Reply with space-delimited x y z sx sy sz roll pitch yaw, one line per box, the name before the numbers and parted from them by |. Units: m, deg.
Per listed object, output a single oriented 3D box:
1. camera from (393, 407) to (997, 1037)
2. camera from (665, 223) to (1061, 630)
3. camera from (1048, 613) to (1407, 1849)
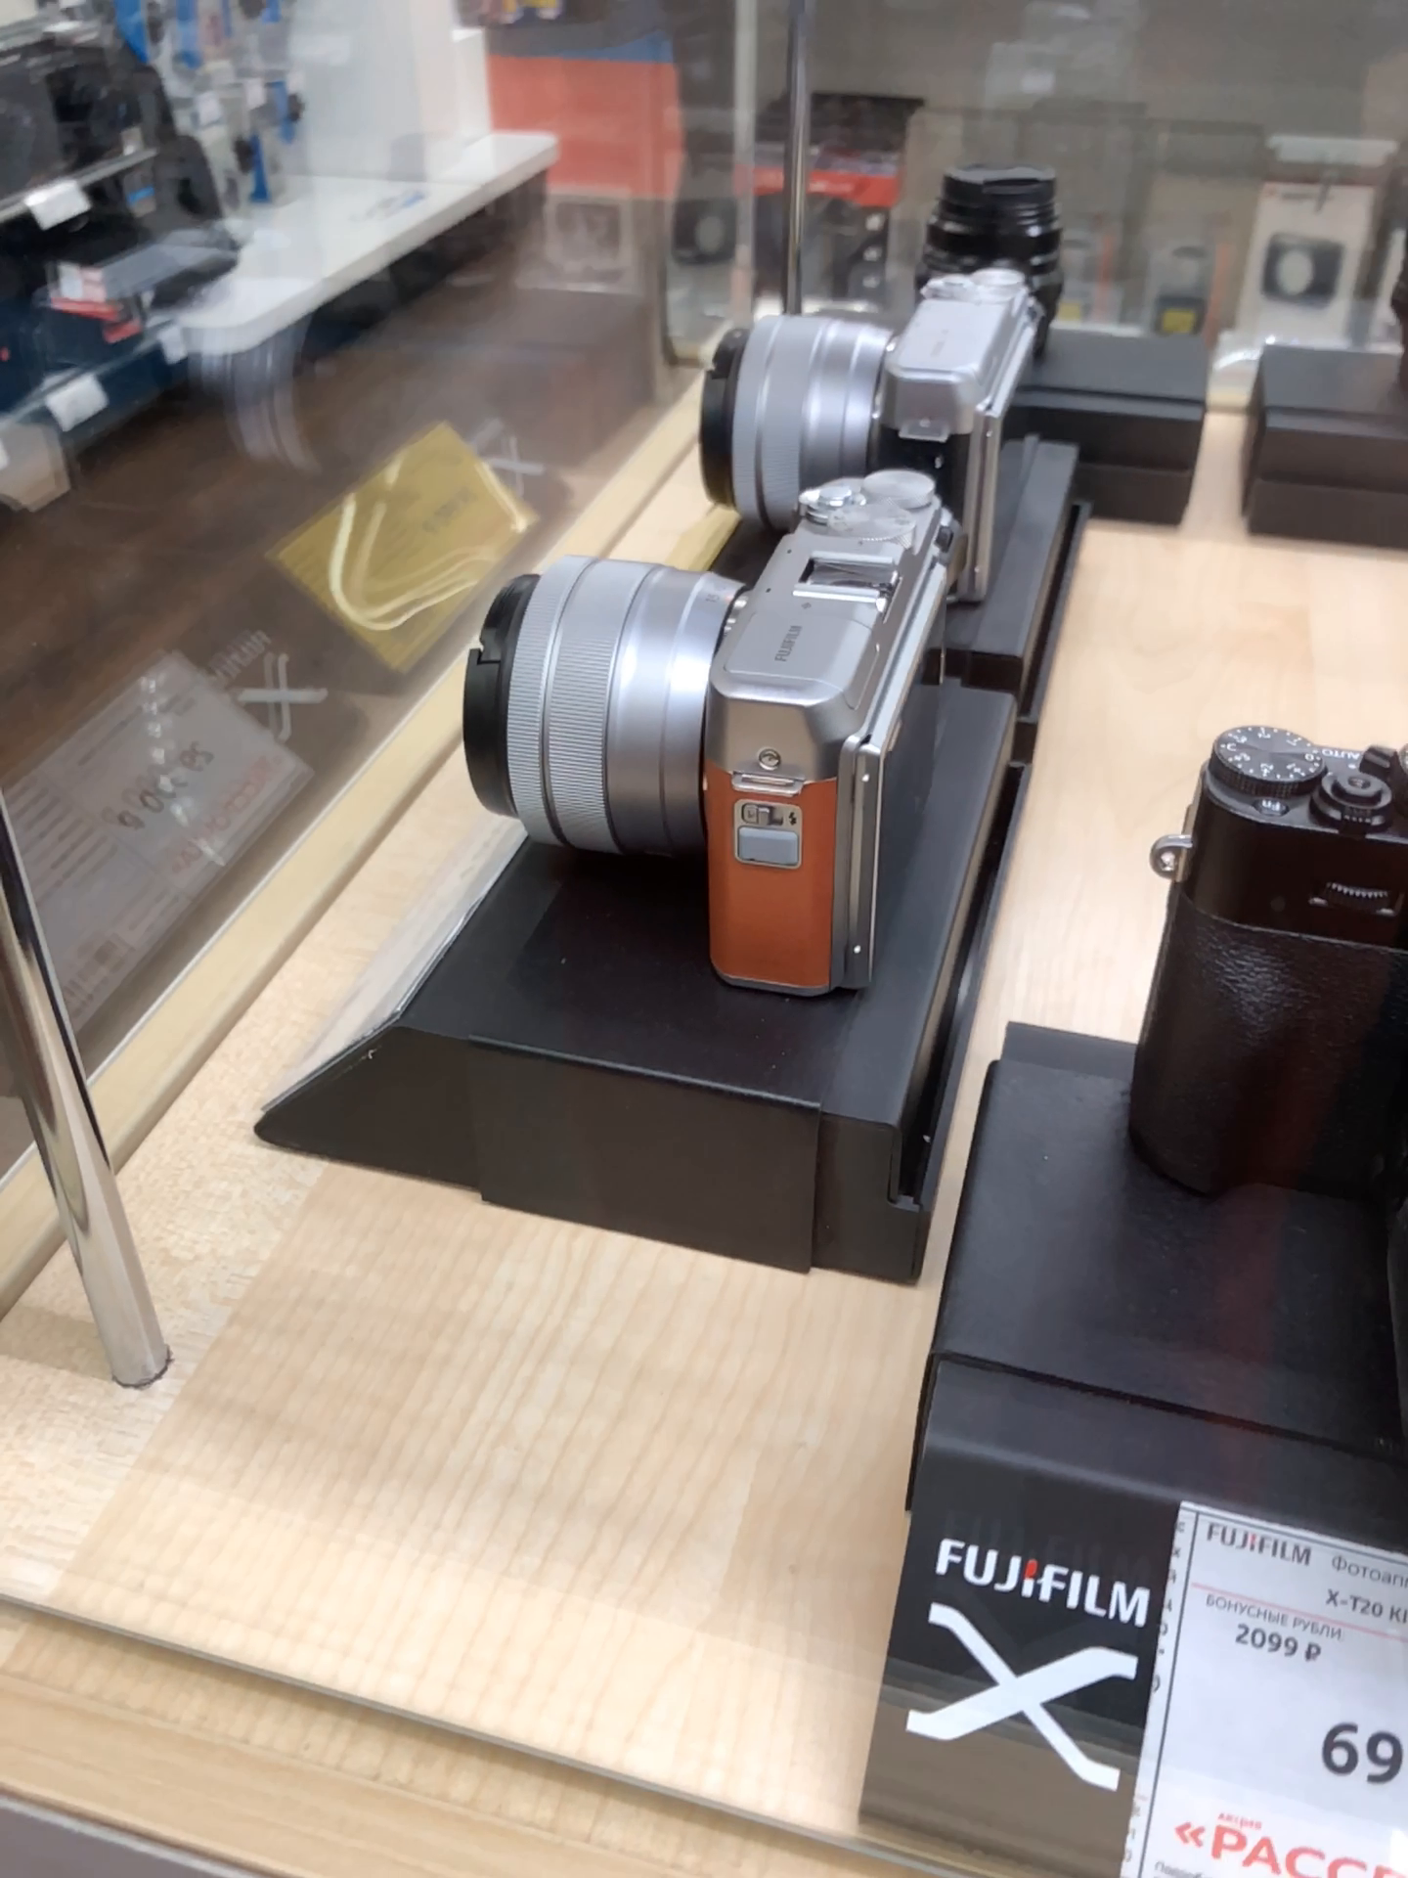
camera | 0.005 -0.053 0.335 0.093 0.075 0.121 9 37 12
camera | 0.050 -0.158 0.469 0.093 0.075 0.121 9 37 12
camera | 0.125 0.028 0.216 0.131 0.090 0.113 10 37 12
